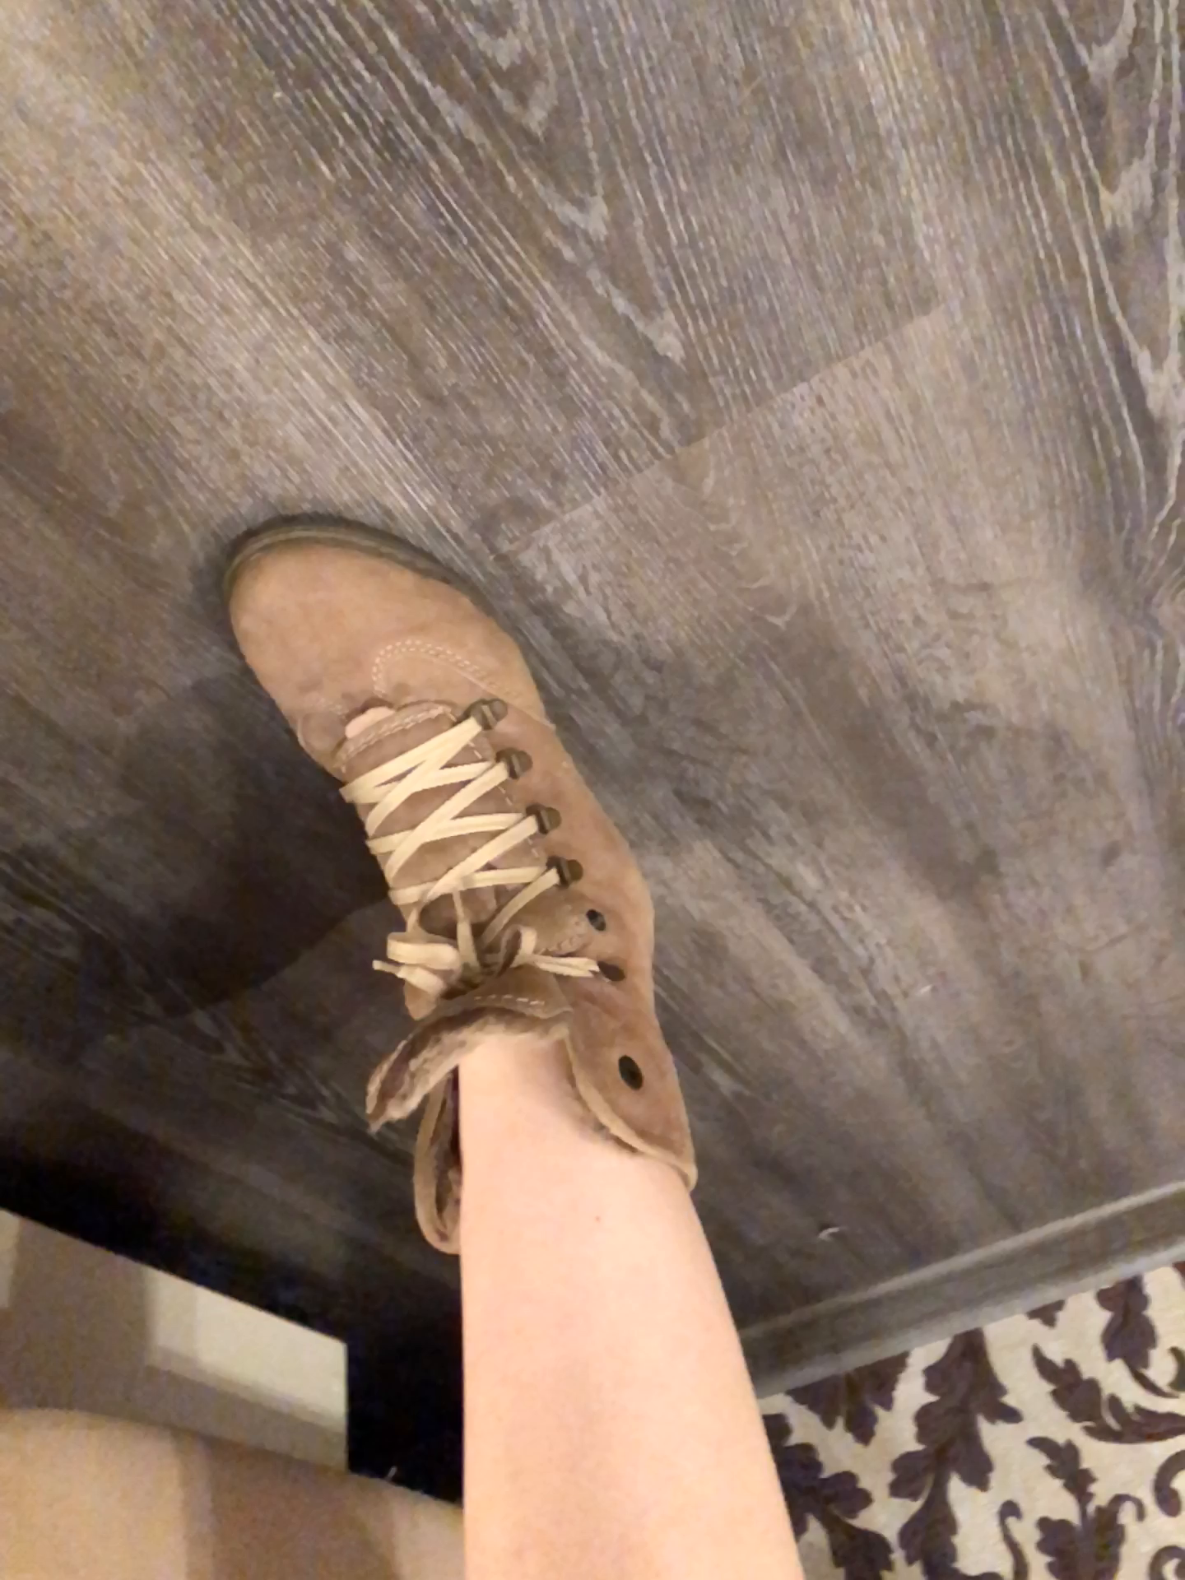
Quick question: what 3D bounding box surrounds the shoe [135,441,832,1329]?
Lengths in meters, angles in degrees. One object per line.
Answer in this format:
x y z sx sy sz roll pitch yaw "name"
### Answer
-0.028 0.053 0.518 0.110 0.209 0.291 -24 136 14 "shoe"
